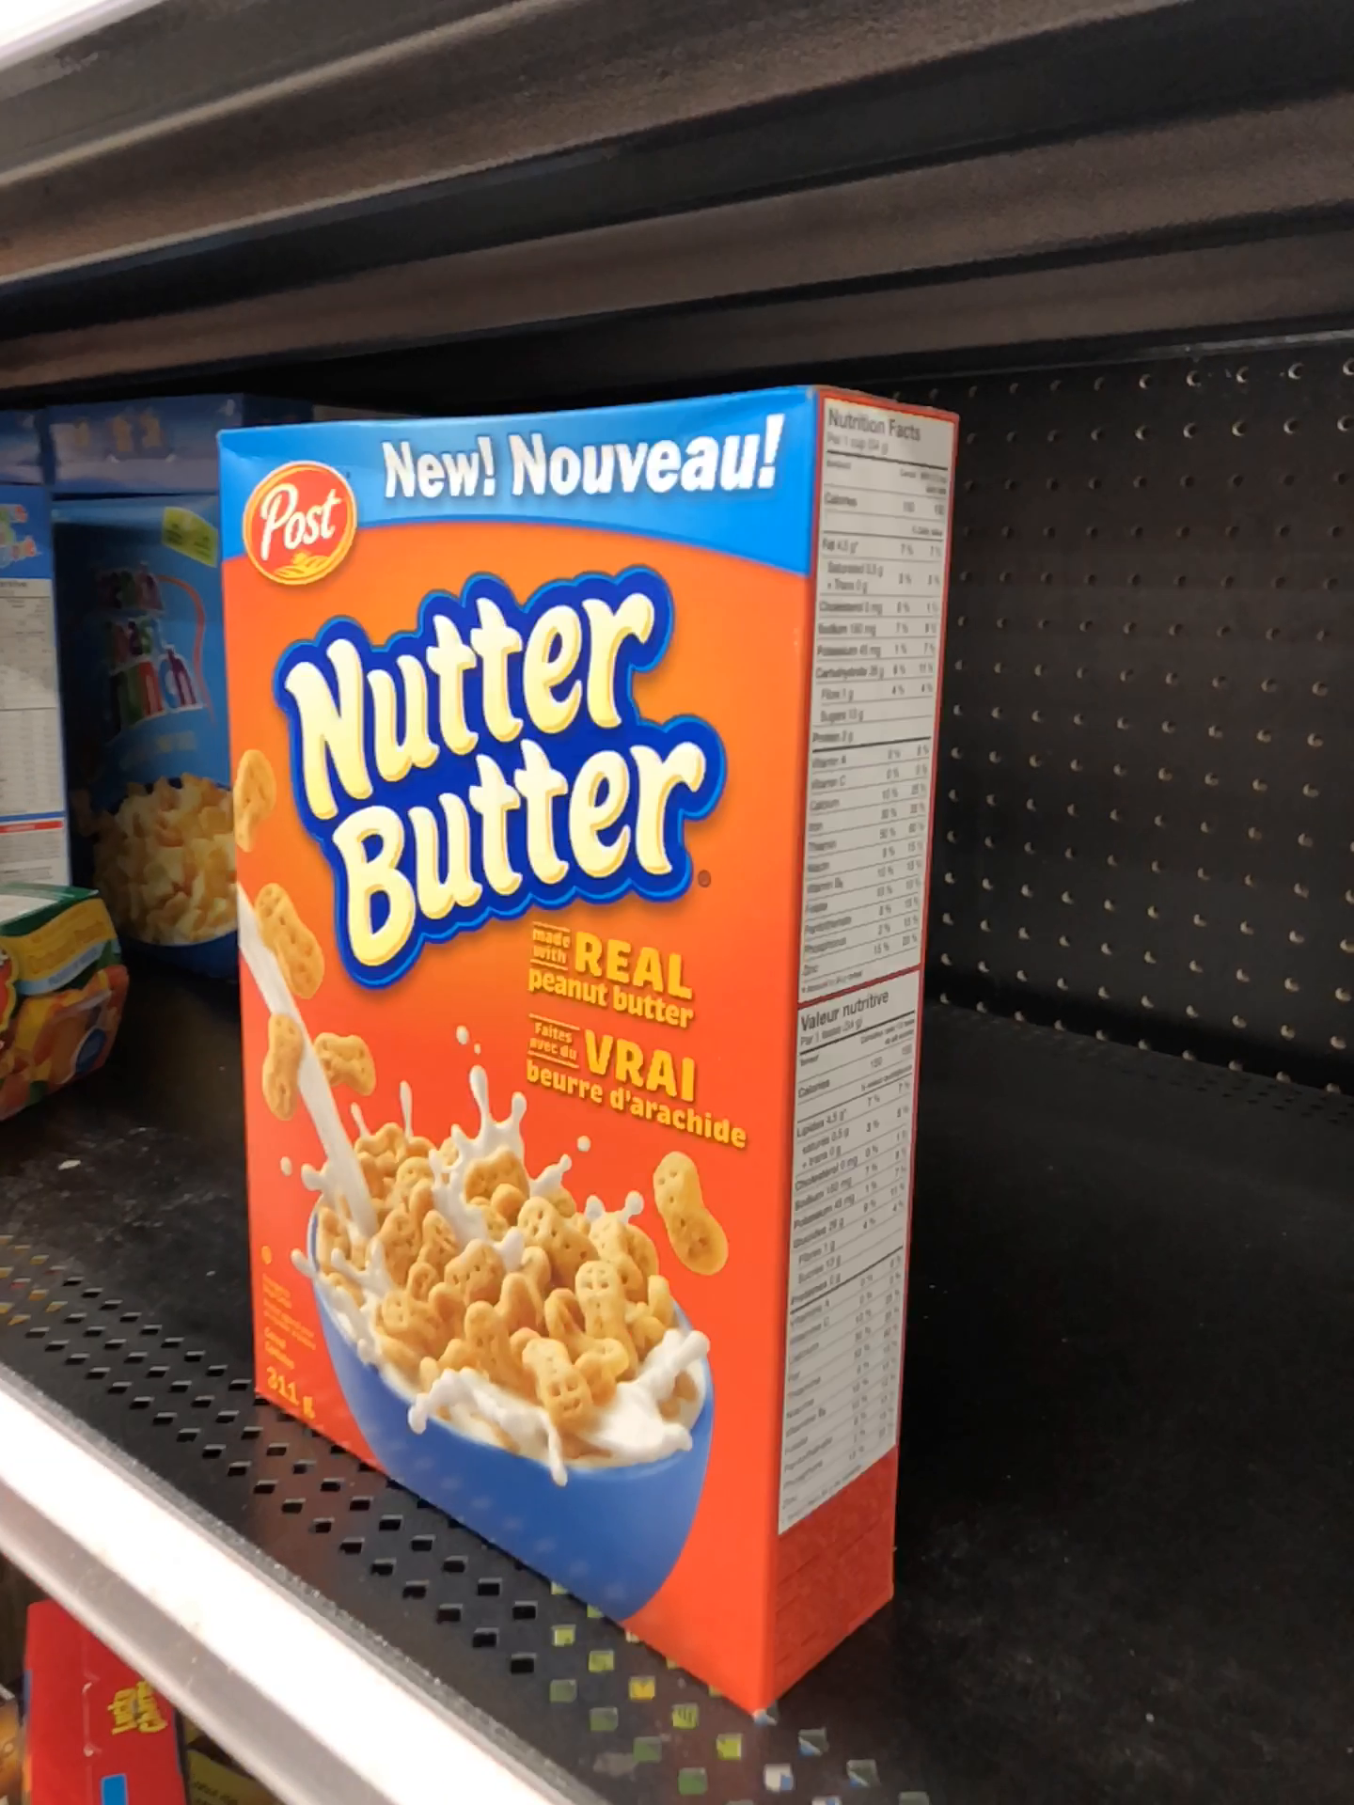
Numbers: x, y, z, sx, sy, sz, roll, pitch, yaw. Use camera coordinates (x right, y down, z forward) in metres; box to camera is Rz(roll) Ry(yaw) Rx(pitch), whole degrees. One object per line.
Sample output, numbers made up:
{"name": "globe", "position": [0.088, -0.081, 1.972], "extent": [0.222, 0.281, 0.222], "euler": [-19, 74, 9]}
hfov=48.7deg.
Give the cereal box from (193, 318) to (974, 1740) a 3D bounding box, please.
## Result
{"name": "cereal box", "position": [-0.032, 0.018, 0.366], "extent": [0.190, 0.279, 0.060], "euler": [11, 16, 41]}
